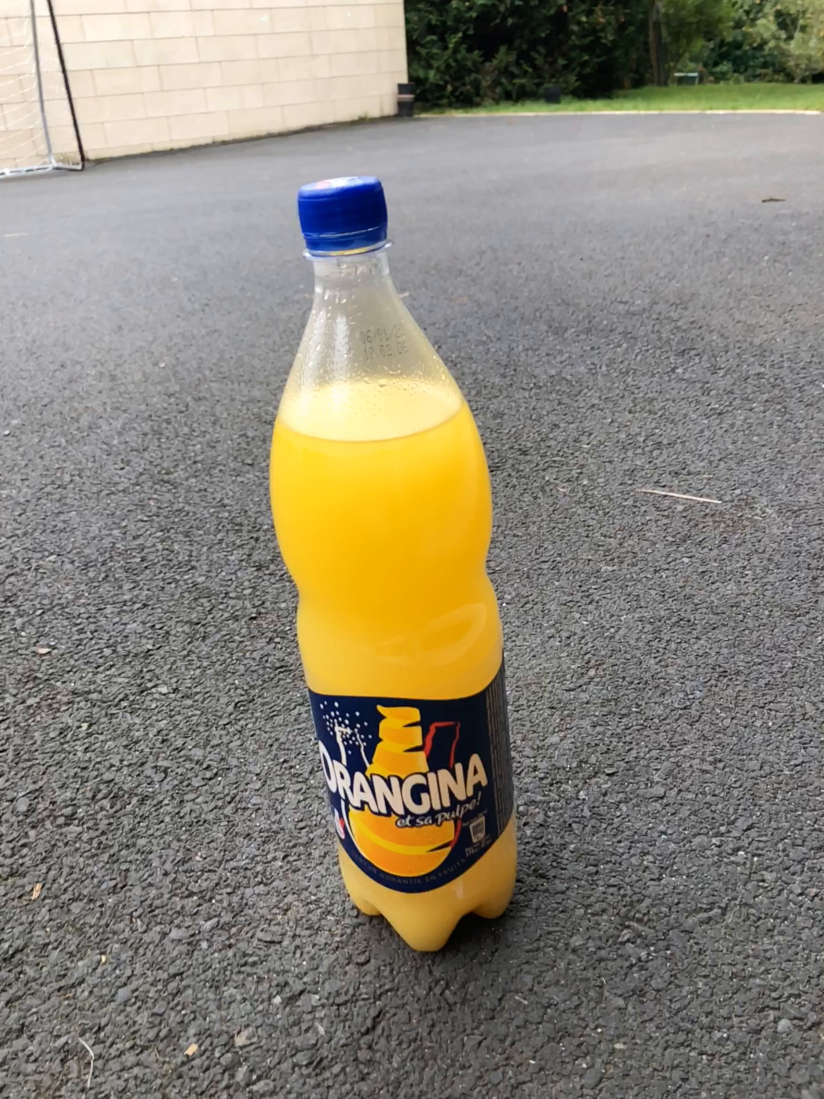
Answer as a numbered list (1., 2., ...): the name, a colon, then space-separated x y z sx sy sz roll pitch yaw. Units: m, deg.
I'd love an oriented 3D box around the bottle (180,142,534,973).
1. bottle: -0.002 0.019 0.384 0.100 0.338 0.101 -3 29 2
